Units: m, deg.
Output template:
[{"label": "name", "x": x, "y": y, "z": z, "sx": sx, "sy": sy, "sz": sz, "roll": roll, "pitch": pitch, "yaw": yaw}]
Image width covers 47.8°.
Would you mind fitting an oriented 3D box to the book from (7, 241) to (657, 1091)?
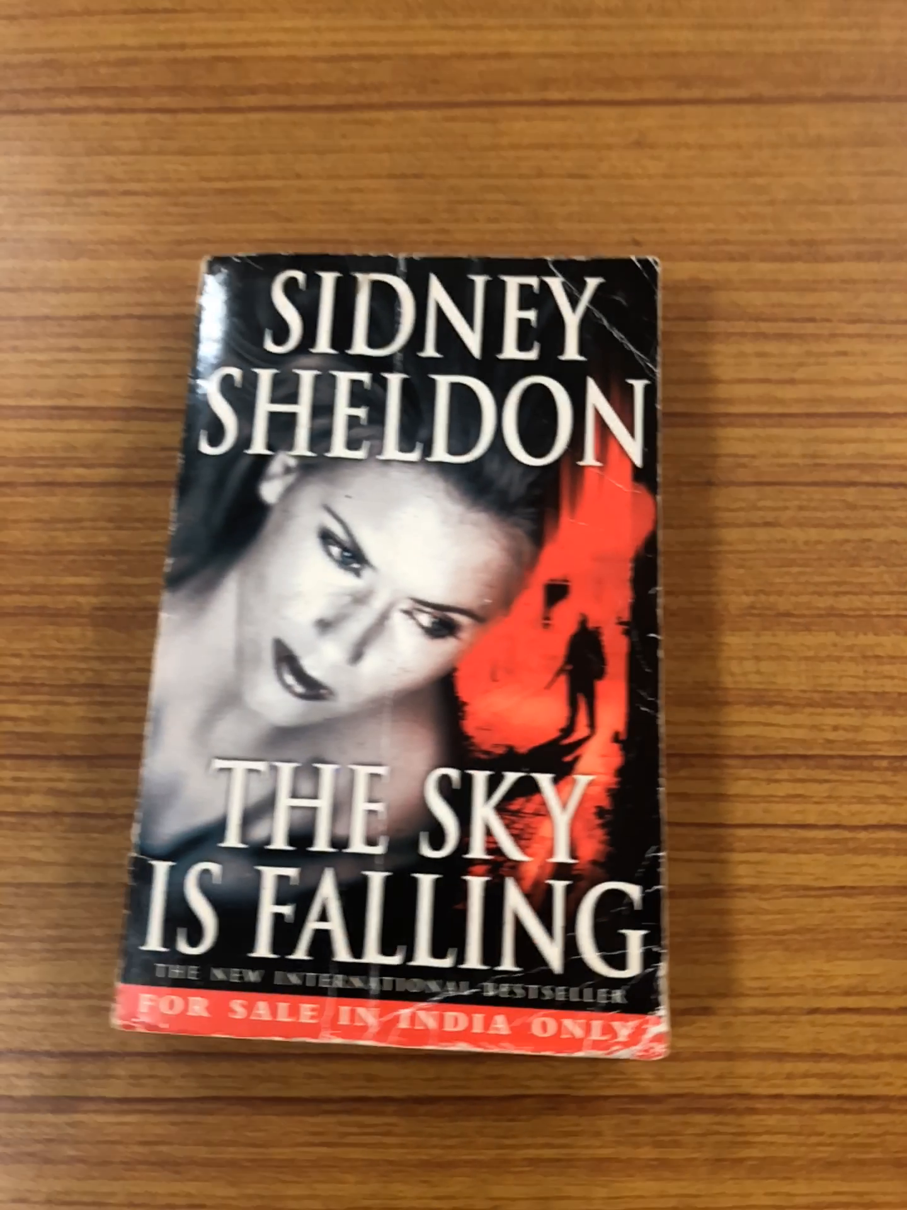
[{"label": "book", "x": -0.019, "y": 0.007, "z": 0.223, "sx": 0.120, "sy": 0.030, "sz": 0.170, "roll": 2, "pitch": 77, "yaw": 2}]
